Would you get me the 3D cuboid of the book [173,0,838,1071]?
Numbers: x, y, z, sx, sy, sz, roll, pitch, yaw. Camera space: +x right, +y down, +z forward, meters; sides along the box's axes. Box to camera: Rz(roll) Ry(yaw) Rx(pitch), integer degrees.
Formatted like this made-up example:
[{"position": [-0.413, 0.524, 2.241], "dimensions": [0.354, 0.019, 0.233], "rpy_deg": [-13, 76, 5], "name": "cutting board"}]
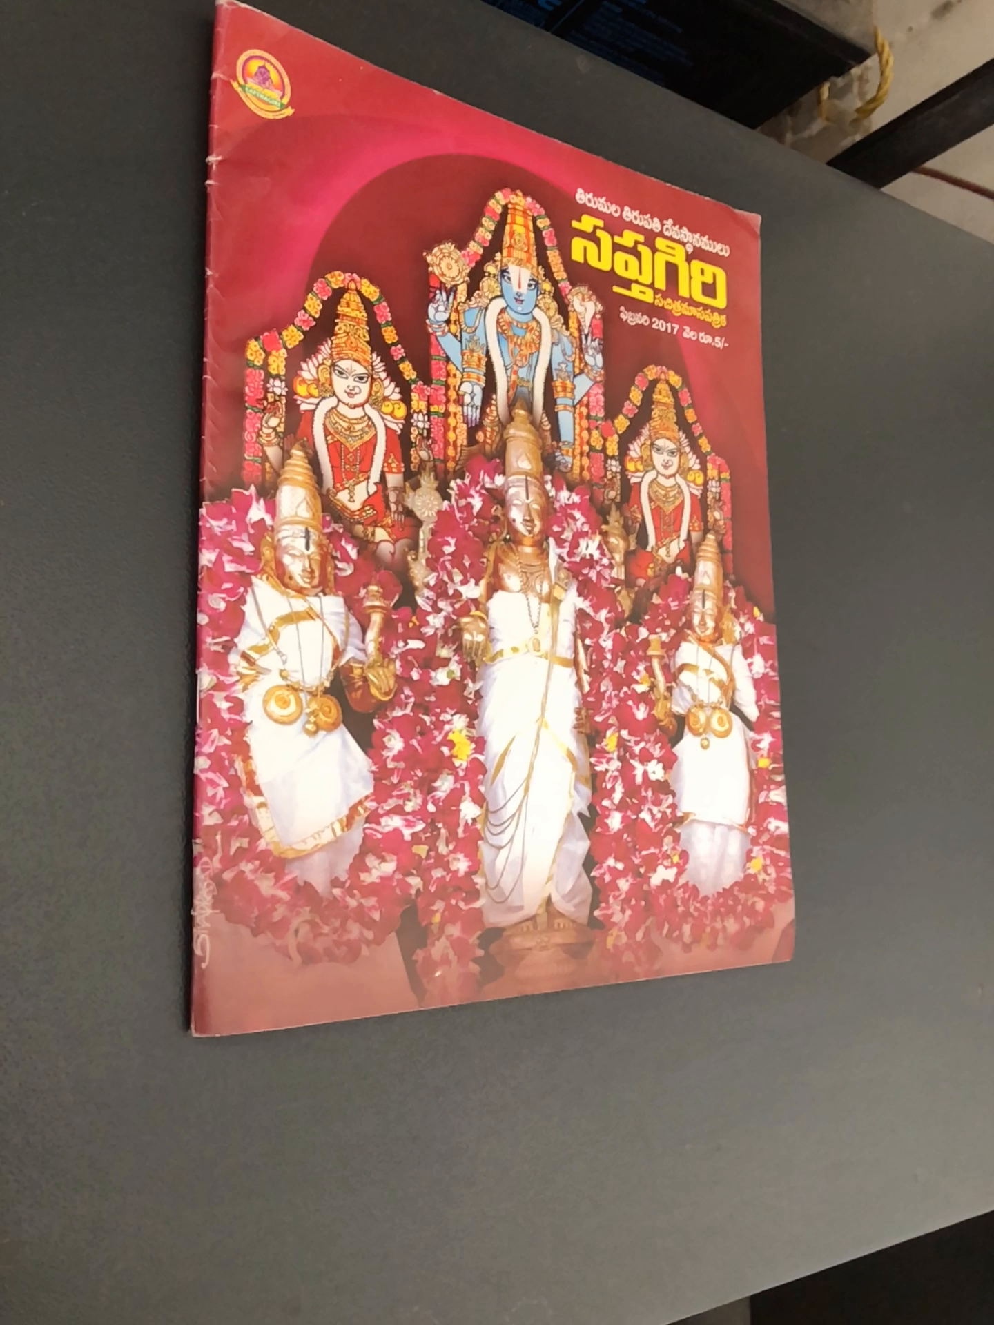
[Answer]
[{"position": [0.012, -0.035, 0.321], "dimensions": [0.201, 0.030, 0.260], "rpy_deg": [4, 81, -33], "name": "book"}]
